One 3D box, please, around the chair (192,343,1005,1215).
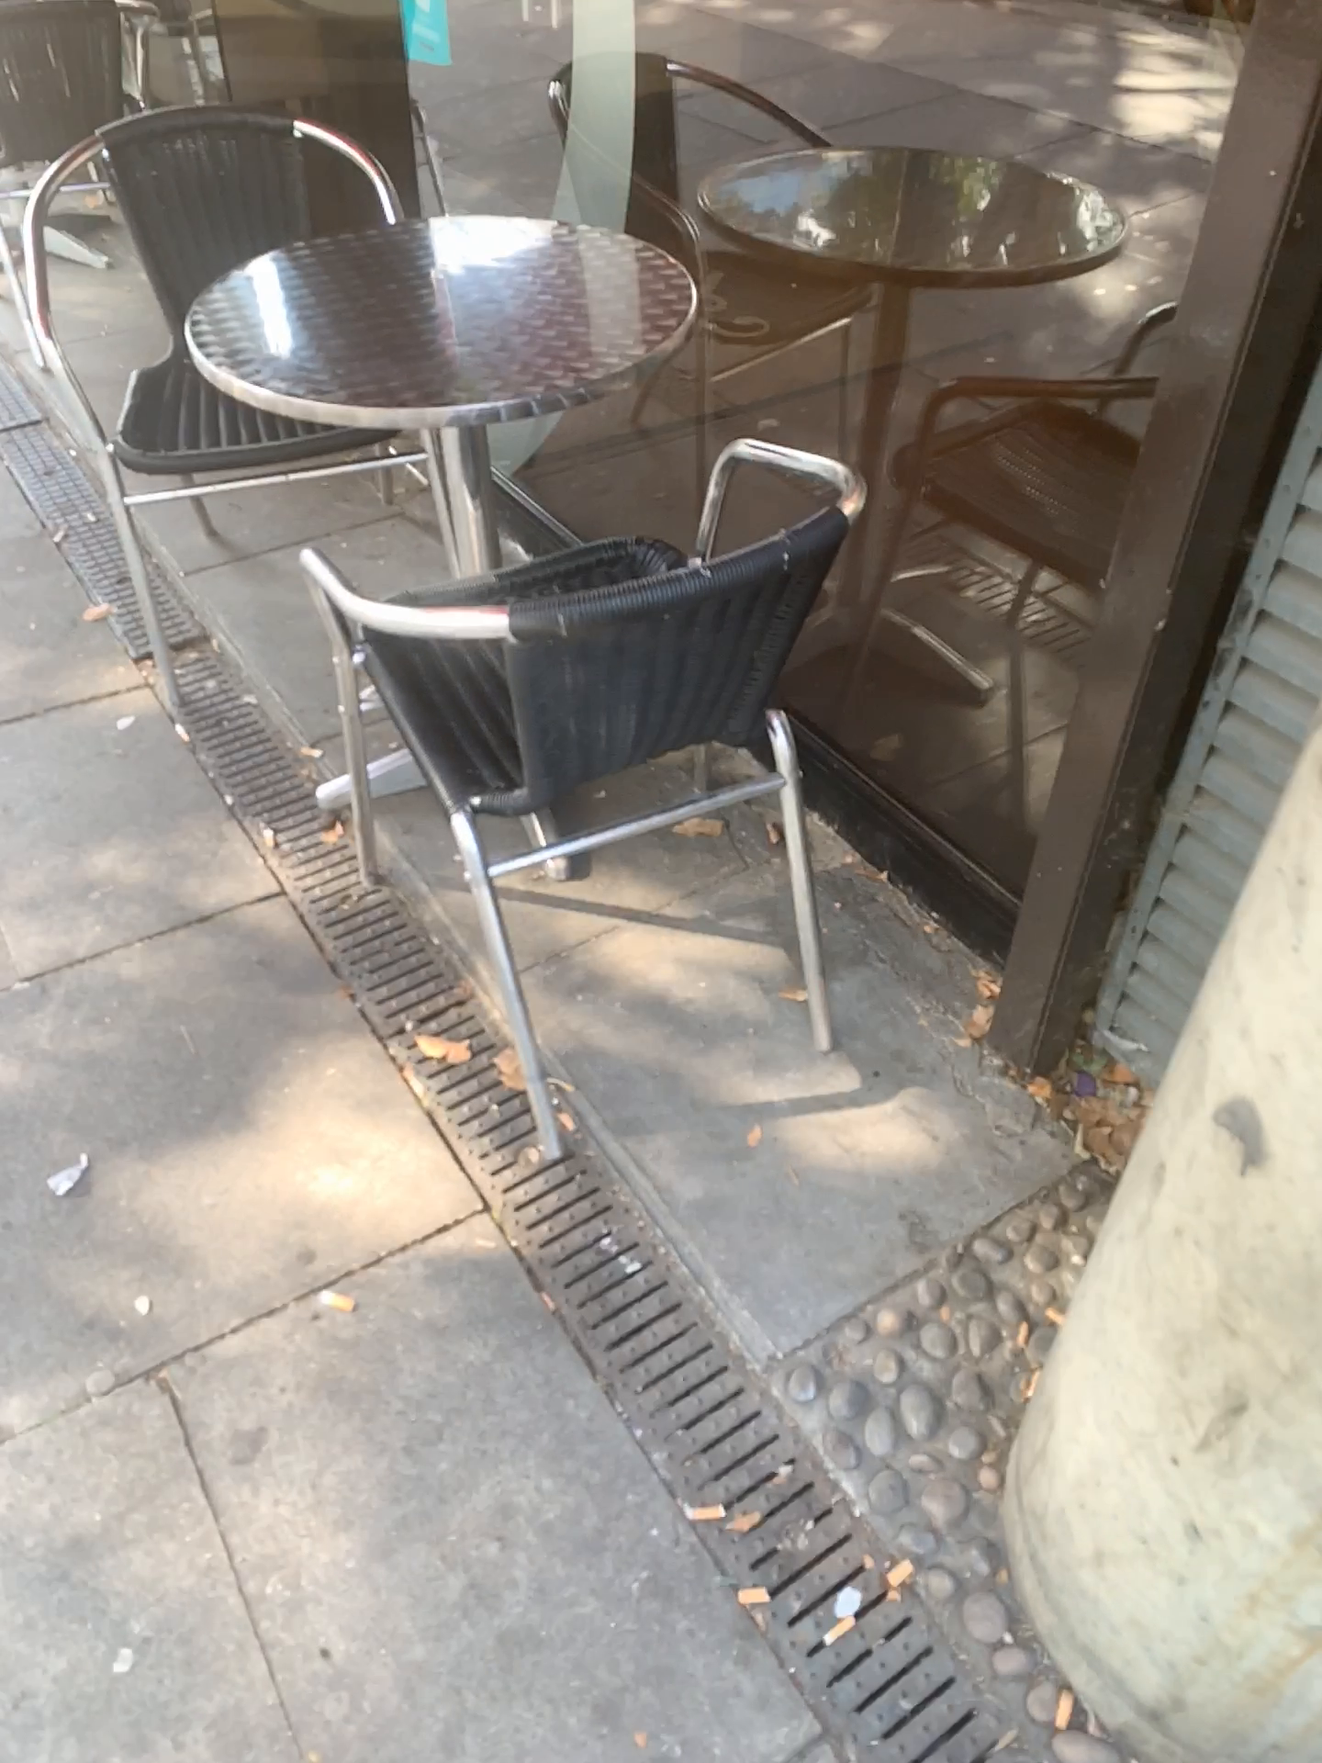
[{"bbox_3d":[-0.100,-0.154,1.519,0.601,0.604,0.645,-17,45,-19],"label":"chair"}]
